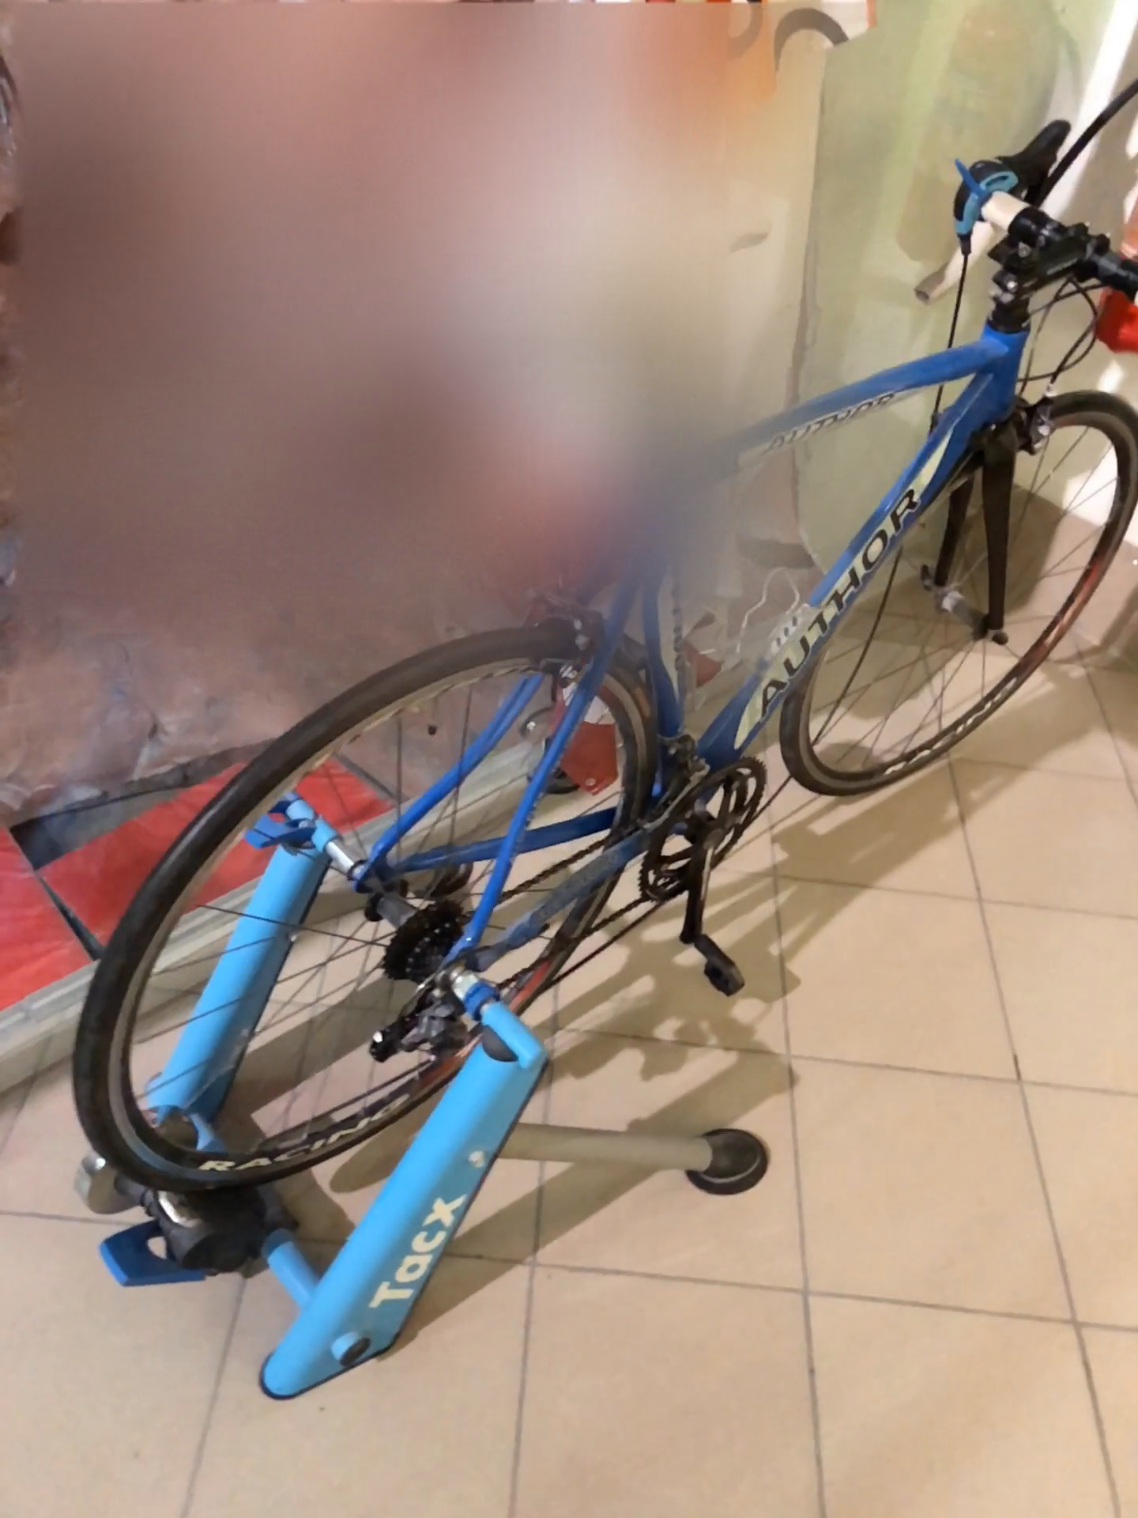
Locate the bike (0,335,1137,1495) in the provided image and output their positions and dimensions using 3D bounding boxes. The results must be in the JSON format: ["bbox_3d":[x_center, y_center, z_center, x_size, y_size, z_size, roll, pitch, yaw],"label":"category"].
[{"bbox_3d":[0.215,0.020,1.442,1.557,0.682,0.466,-24,51,-35],"label":"bike"}]
